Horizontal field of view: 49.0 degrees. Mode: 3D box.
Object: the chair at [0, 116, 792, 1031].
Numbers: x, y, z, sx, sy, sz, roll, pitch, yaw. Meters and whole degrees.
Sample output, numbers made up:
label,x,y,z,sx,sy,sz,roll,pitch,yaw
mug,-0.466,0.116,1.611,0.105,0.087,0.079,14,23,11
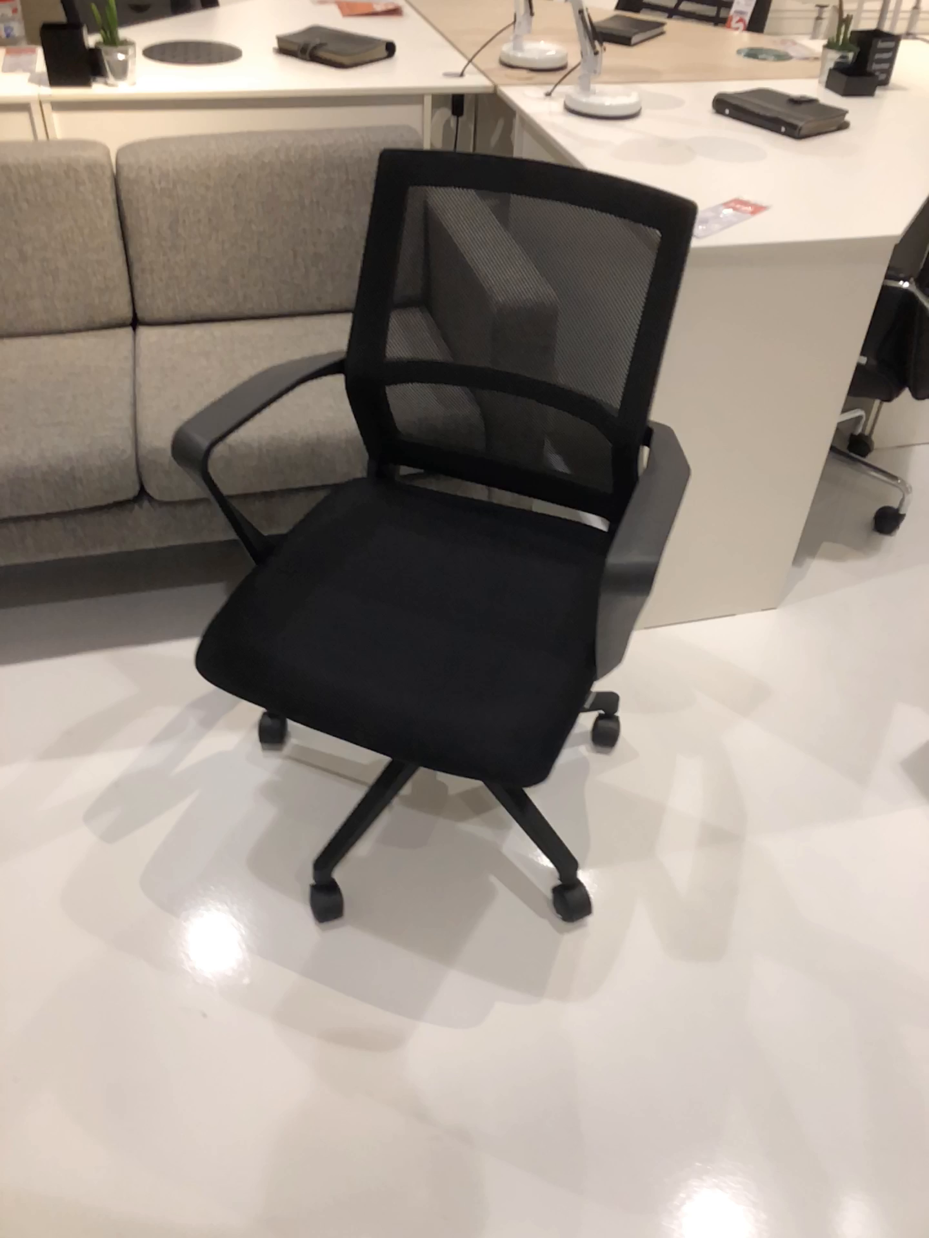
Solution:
label,x,y,z,sx,sy,sz,roll,pitch,yaw
chair,-0.052,-0.072,1.416,0.681,0.933,0.634,17,42,16
